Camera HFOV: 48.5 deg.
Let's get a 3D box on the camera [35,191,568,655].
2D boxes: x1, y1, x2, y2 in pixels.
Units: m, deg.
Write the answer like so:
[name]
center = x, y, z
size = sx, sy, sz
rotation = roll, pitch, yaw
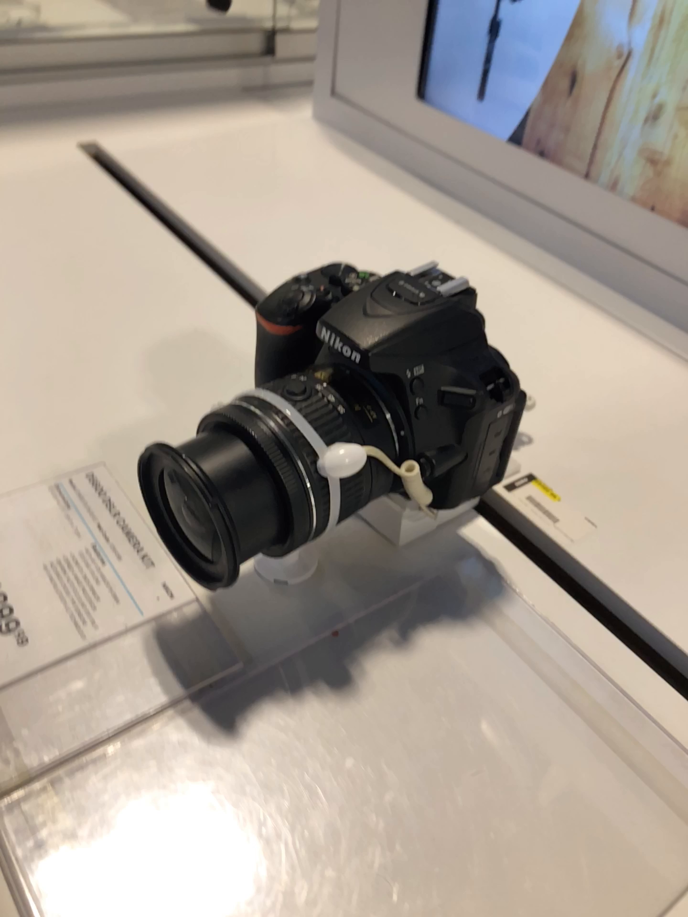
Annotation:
[camera]
center = -0.017, -0.029, 0.313
size = 0.150, 0.089, 0.131
rotation = -27, 51, -34
